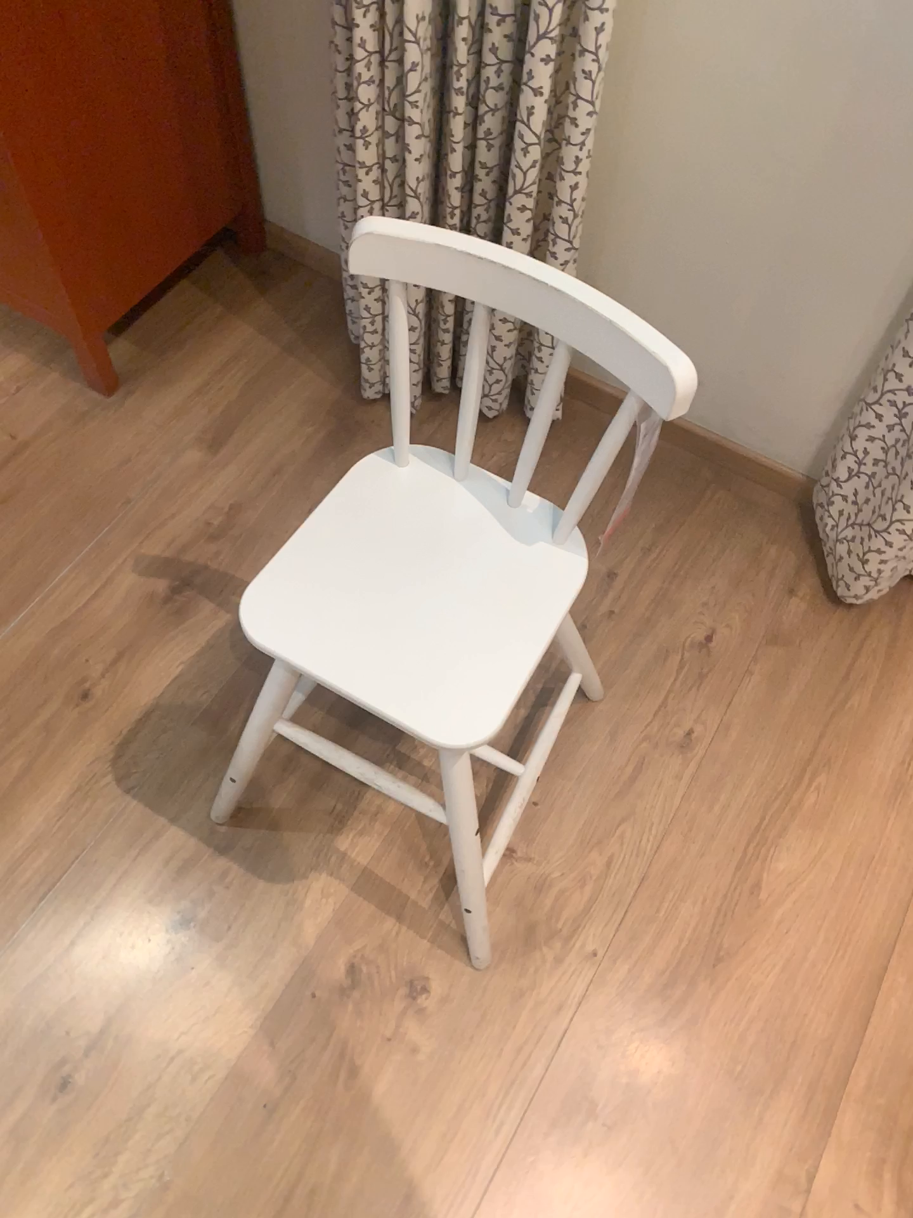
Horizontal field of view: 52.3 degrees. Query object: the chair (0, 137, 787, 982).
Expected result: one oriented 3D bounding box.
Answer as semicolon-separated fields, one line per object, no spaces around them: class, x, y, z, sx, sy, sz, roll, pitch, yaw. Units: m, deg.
chair;-0.061;0.013;0.941;0.450;0.649;0.431;26;62;12
